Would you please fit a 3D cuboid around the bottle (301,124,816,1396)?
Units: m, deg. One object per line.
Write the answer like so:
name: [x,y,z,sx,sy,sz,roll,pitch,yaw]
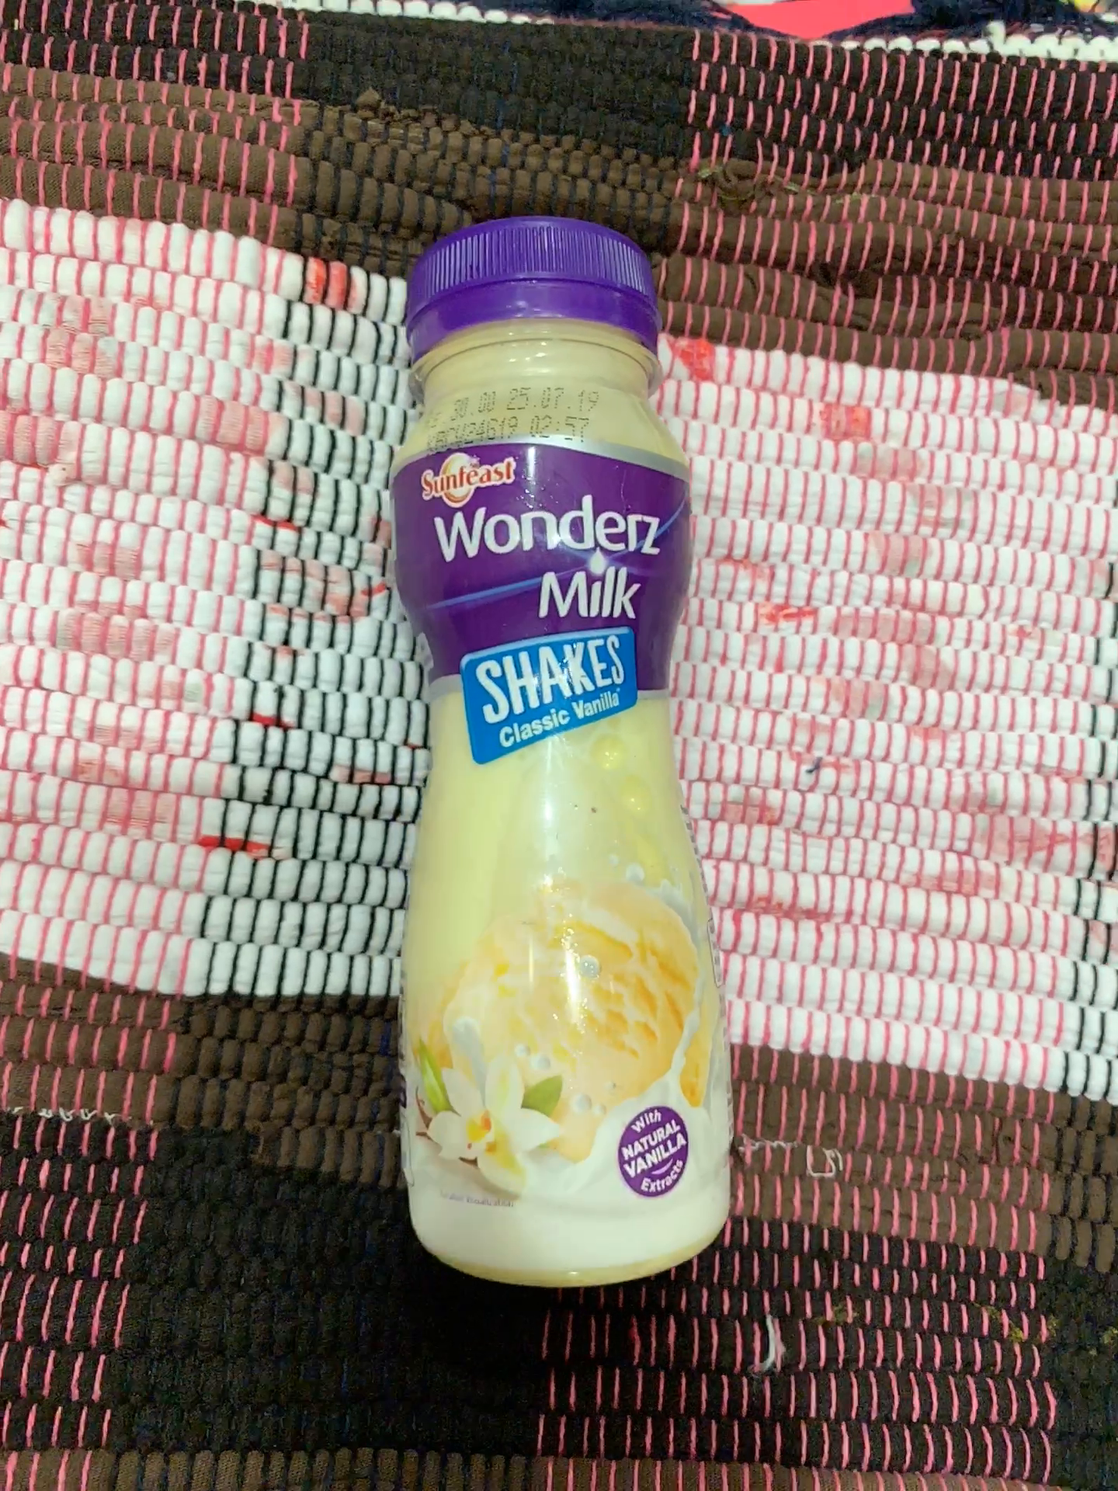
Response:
bottle: [-0.002,0.000,0.174,0.060,0.050,0.160,-2,87,-3]
